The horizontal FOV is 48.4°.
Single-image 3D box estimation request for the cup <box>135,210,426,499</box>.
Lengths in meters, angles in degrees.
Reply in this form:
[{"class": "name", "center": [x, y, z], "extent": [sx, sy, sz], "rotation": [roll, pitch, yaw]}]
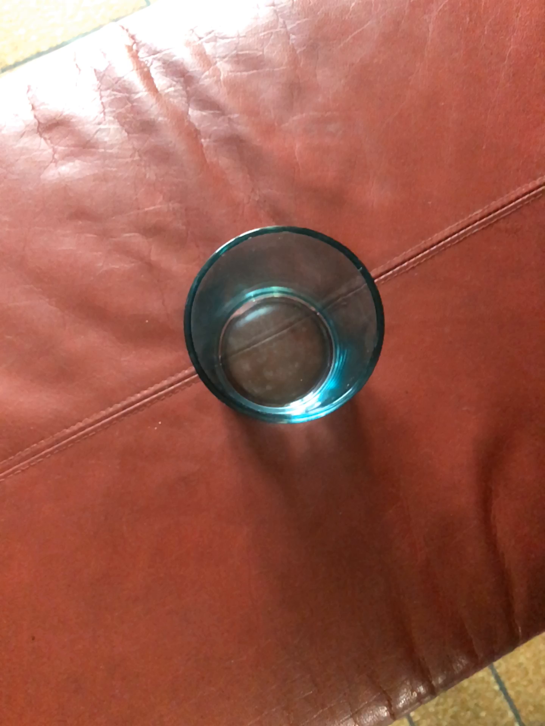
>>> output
[{"class": "cup", "center": [0.003, 0.001, 0.245], "extent": [0.070, 0.090, 0.070], "rotation": [0, 84, -1]}]
